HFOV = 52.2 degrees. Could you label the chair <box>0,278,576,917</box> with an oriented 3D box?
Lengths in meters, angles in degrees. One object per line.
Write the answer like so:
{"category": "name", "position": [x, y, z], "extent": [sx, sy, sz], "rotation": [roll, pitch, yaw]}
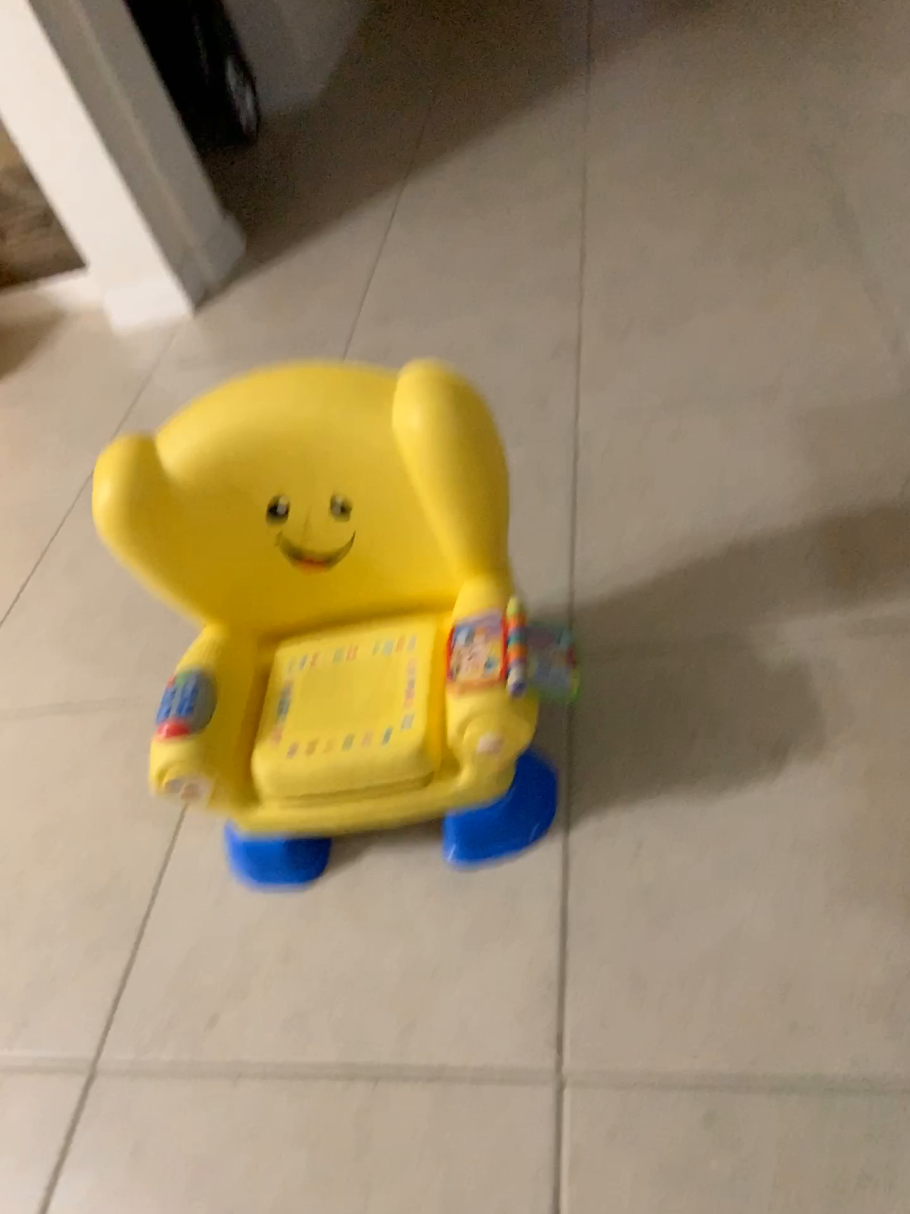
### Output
{"category": "chair", "position": [-0.135, 0.018, 0.968], "extent": [0.421, 0.485, 0.373], "rotation": [-9, 43, 13]}
